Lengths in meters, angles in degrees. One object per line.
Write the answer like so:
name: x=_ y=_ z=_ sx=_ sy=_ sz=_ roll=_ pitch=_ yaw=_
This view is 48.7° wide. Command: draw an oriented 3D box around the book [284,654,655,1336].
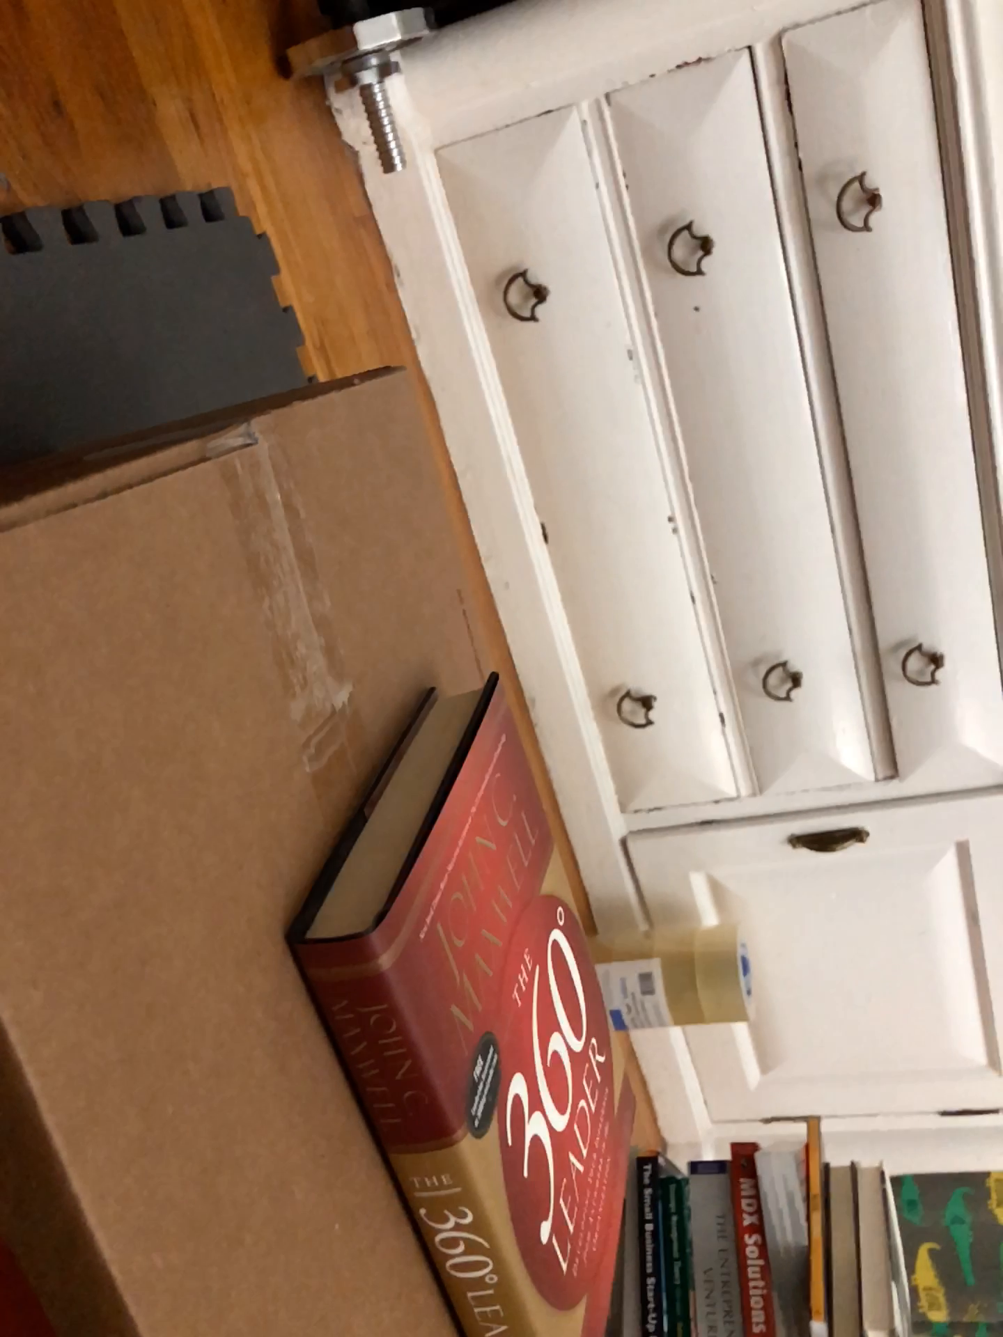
book: x=0.008 y=0.142 z=0.424 sx=0.181 sy=0.030 sz=0.240 roll=-64 pitch=140 yaw=-61
